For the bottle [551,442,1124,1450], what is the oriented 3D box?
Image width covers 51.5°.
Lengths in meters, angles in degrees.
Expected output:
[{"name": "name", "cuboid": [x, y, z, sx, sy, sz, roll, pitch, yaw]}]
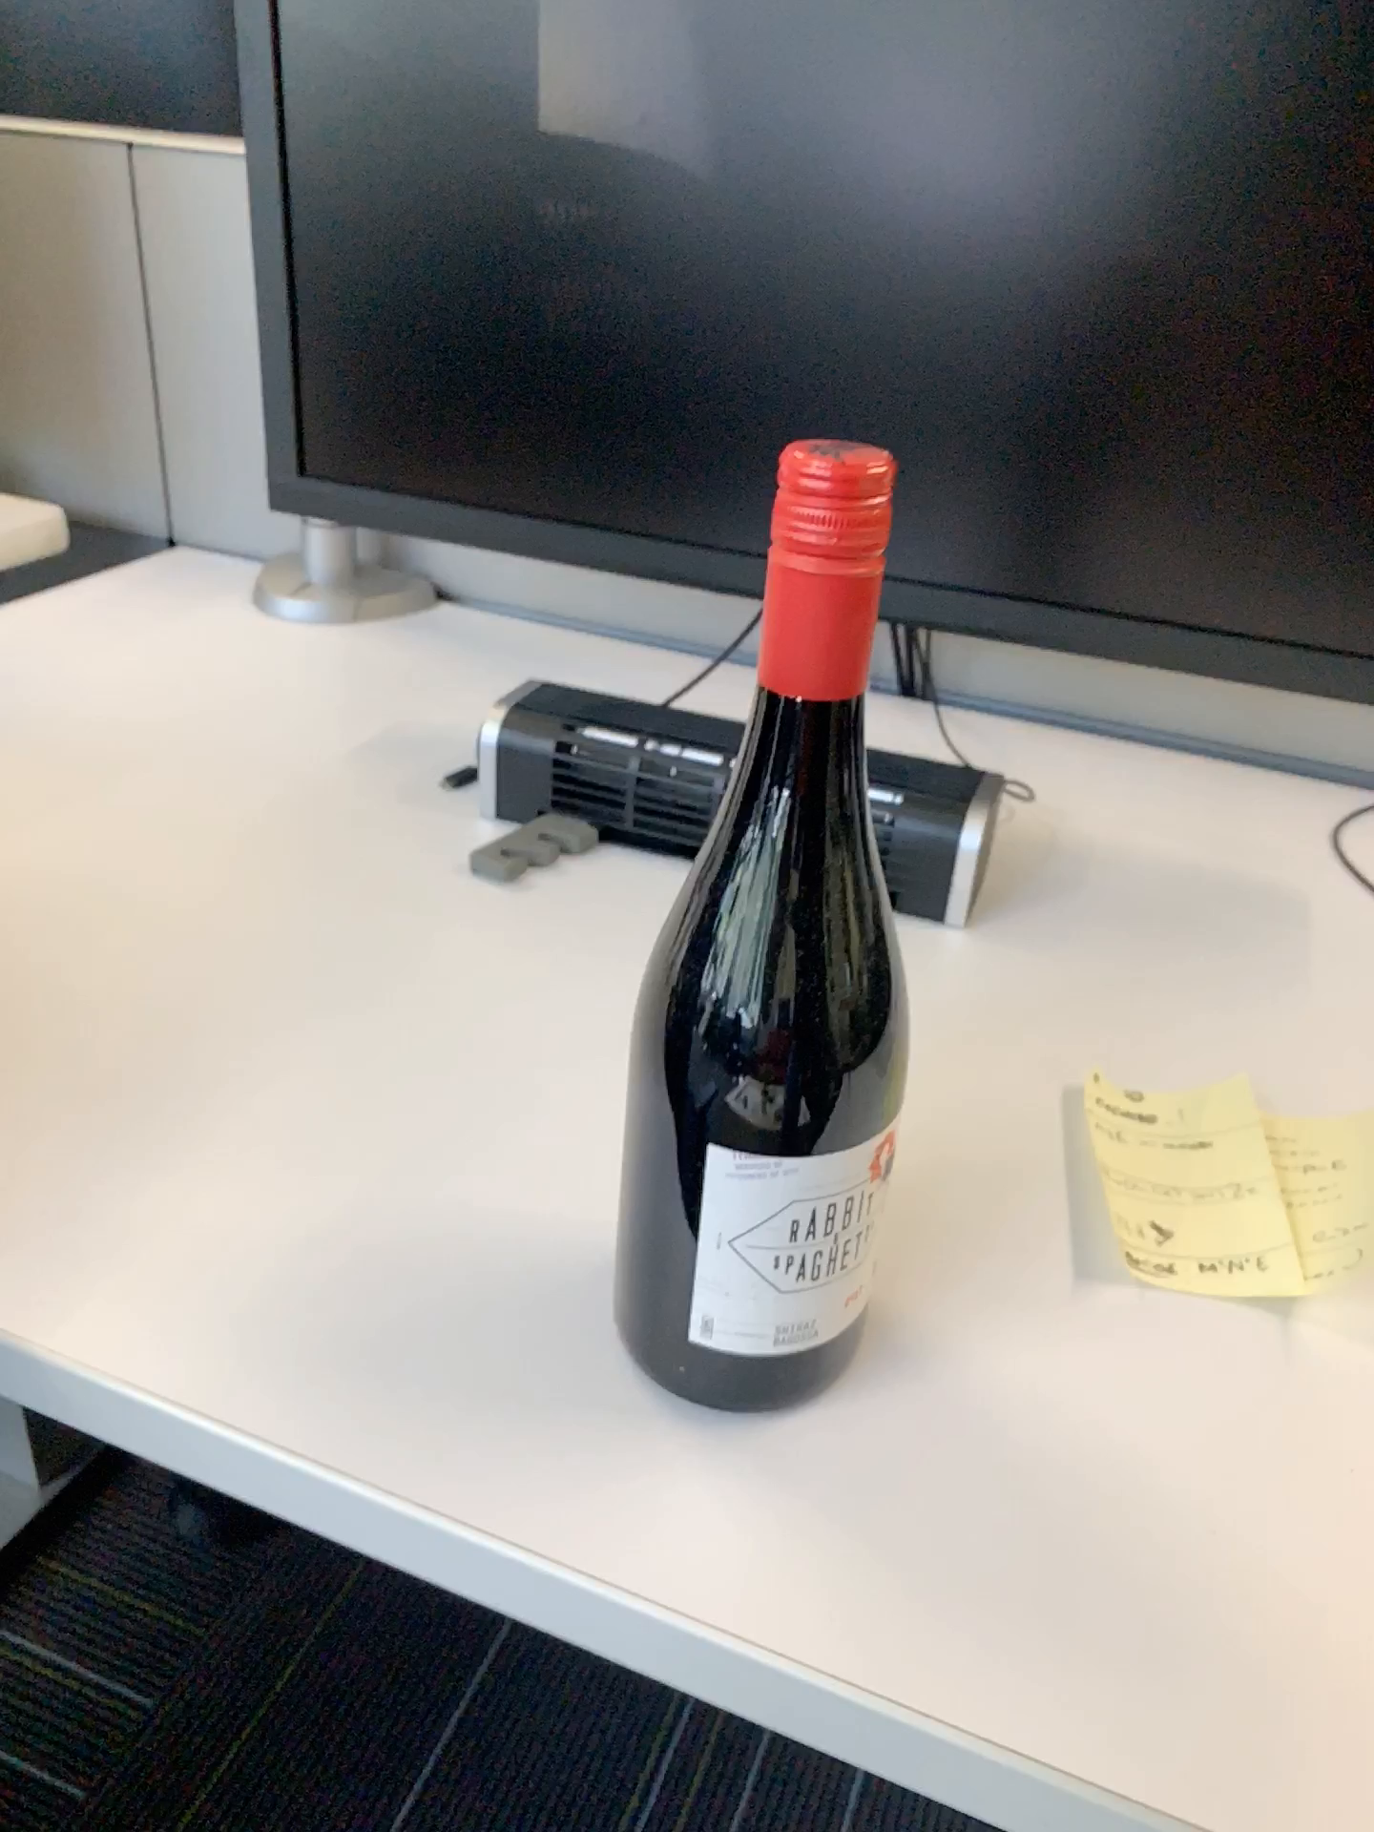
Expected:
[{"name": "bottle", "cuboid": [0.027, 0.010, 0.427, 0.097, 0.270, 0.111, -8, 31, -23]}]
